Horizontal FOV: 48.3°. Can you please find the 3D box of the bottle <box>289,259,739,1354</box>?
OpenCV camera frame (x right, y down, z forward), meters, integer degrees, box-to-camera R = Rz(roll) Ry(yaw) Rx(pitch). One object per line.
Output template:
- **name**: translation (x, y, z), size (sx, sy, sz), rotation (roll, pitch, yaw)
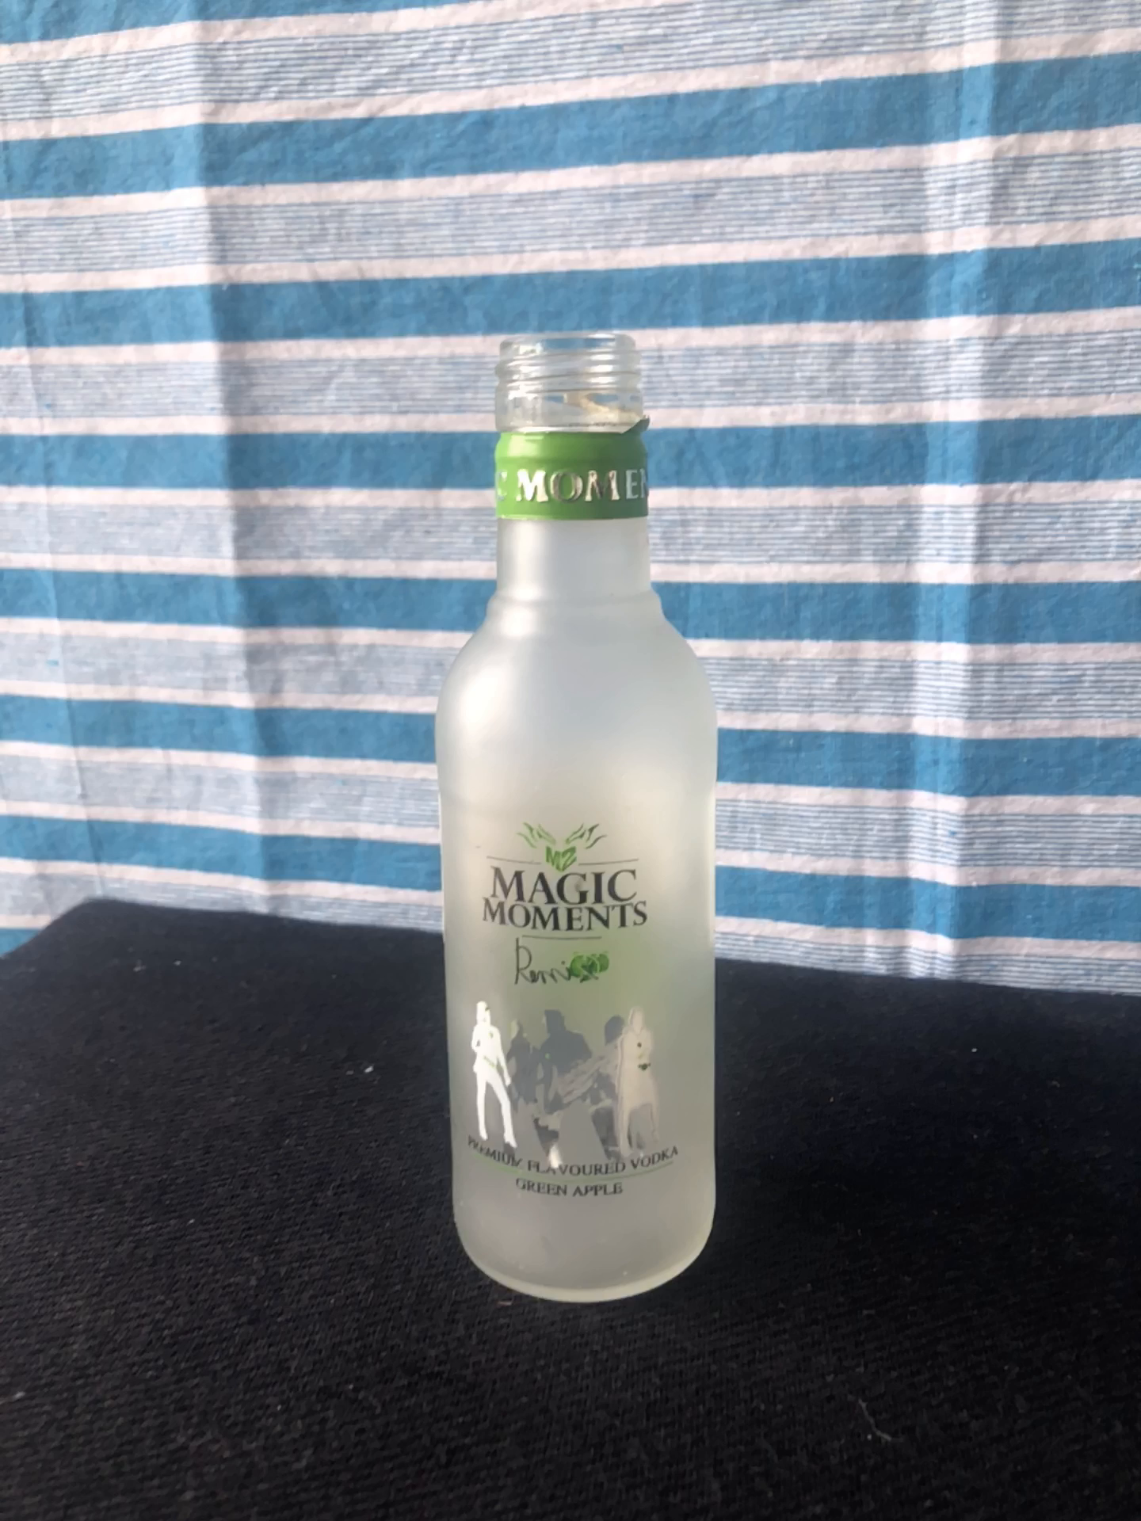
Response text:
- **bottle**: translation (-0.004, 0.006, 0.194), size (0.050, 0.149, 0.050), rotation (0, 16, 0)
